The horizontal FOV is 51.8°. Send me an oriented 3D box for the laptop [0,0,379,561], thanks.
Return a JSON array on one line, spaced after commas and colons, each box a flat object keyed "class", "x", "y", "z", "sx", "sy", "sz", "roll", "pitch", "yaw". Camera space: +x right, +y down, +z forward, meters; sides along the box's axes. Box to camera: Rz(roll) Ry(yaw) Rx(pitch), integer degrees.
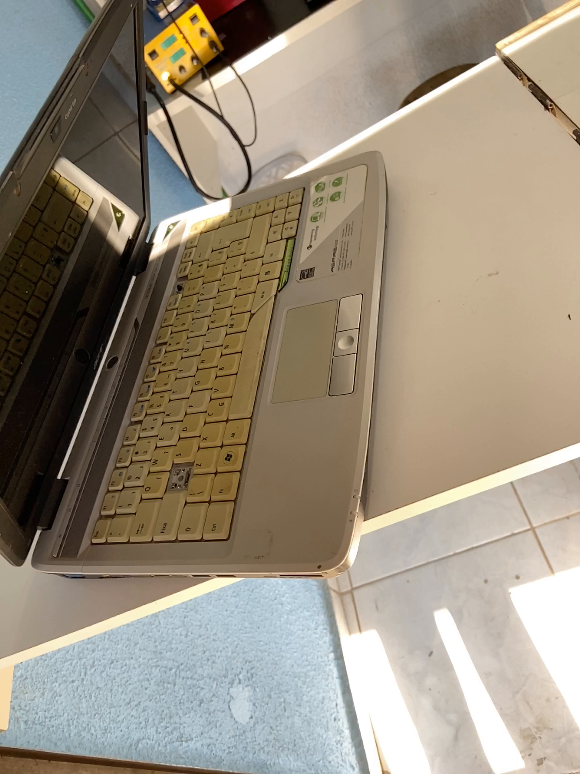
[{"class": "laptop", "x": -0.095, "y": -0.082, "z": 0.379, "sx": 0.225, "sy": 0.180, "sz": 0.329, "roll": -9, "pitch": 54, "yaw": 27}]
